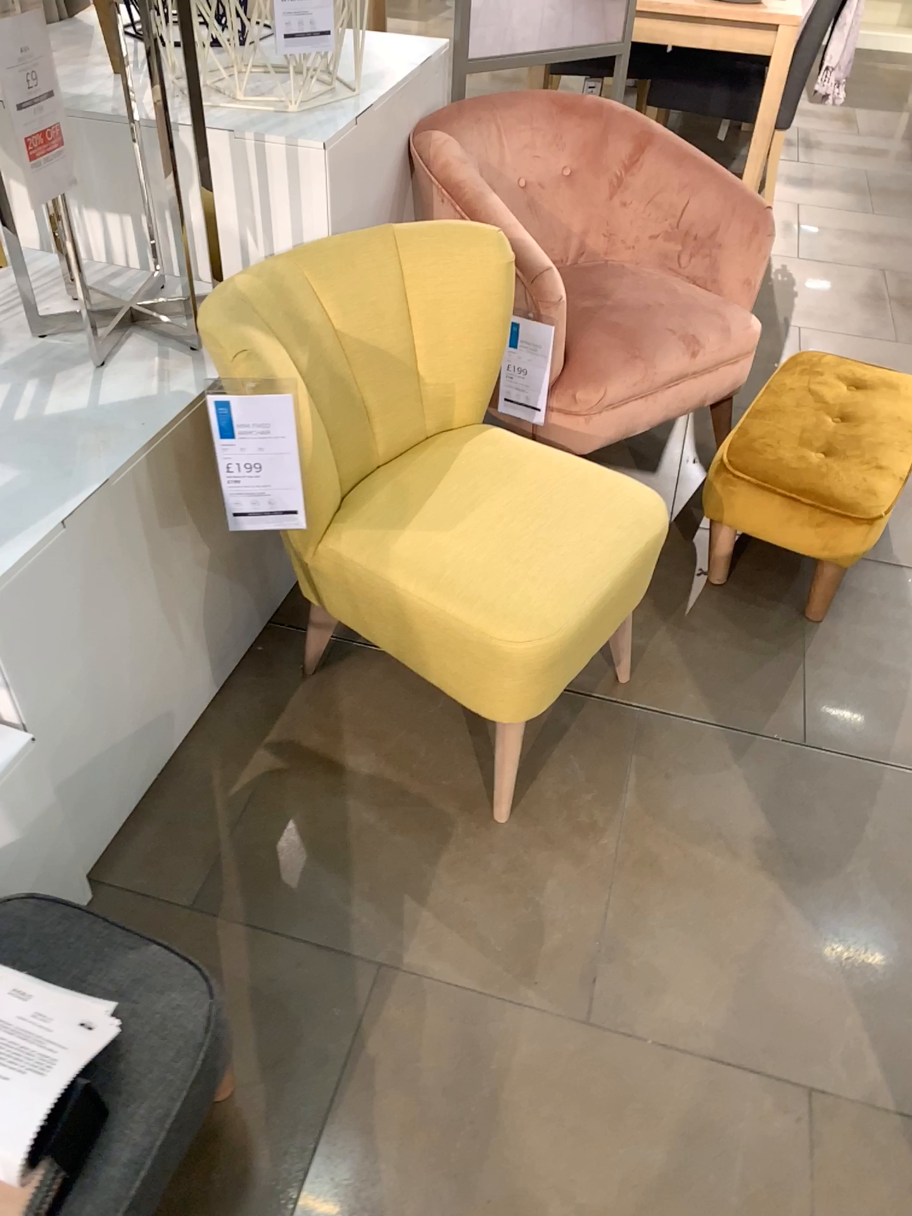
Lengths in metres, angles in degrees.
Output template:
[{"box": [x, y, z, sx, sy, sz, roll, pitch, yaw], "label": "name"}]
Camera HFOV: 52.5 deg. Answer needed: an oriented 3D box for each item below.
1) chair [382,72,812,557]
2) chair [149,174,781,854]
[{"box": [0.268, -0.680, 2.087, 0.619, 0.765, 0.589, -28, 49, -30], "label": "chair"}, {"box": [0.021, -0.179, 1.452, 0.588, 0.696, 0.611, 28, 48, 27], "label": "chair"}]
